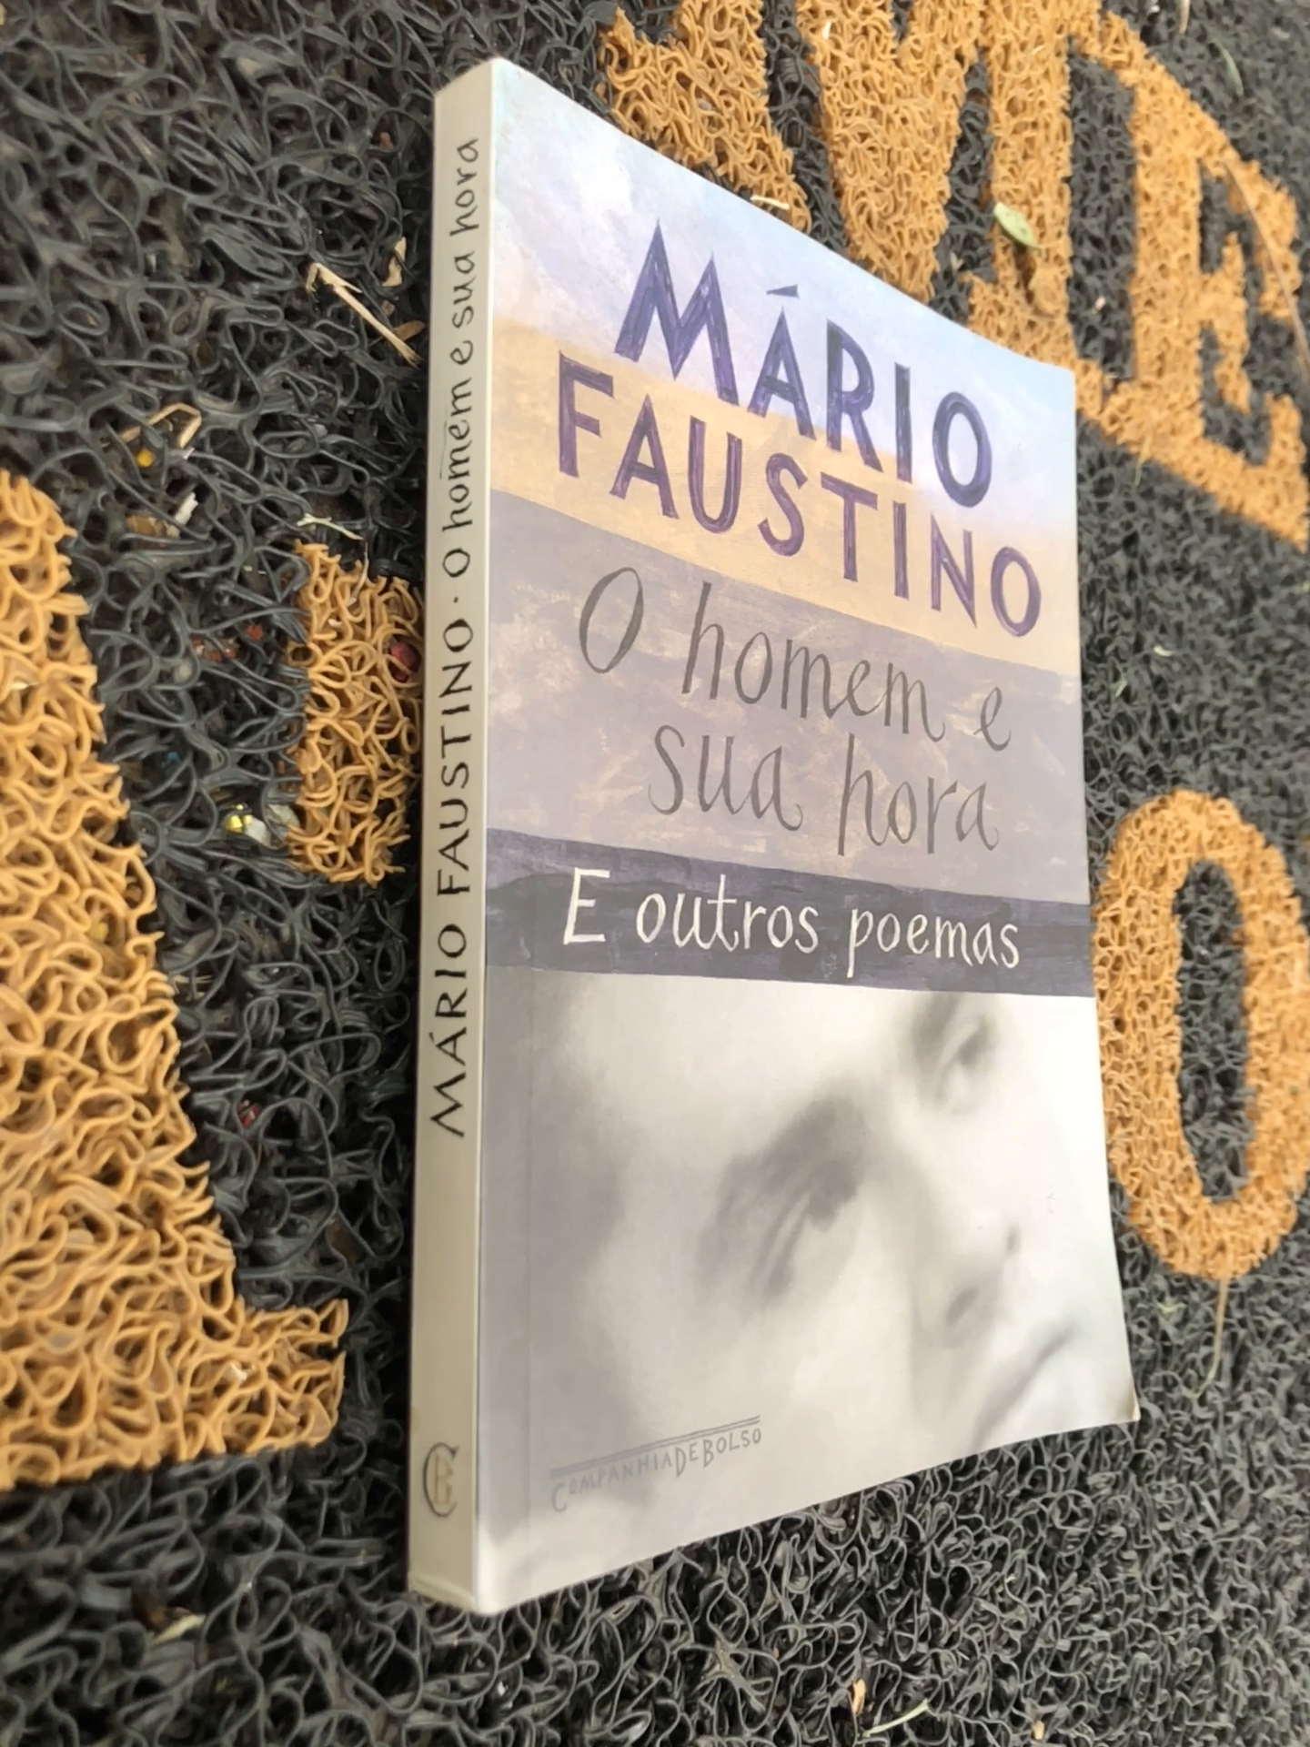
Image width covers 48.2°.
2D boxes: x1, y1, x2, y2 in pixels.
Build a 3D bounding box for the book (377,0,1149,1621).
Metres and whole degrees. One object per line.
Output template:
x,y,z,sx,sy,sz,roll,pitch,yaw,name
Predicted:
0.023,-0.009,0.199,0.125,0.020,0.174,7,80,-43,book
